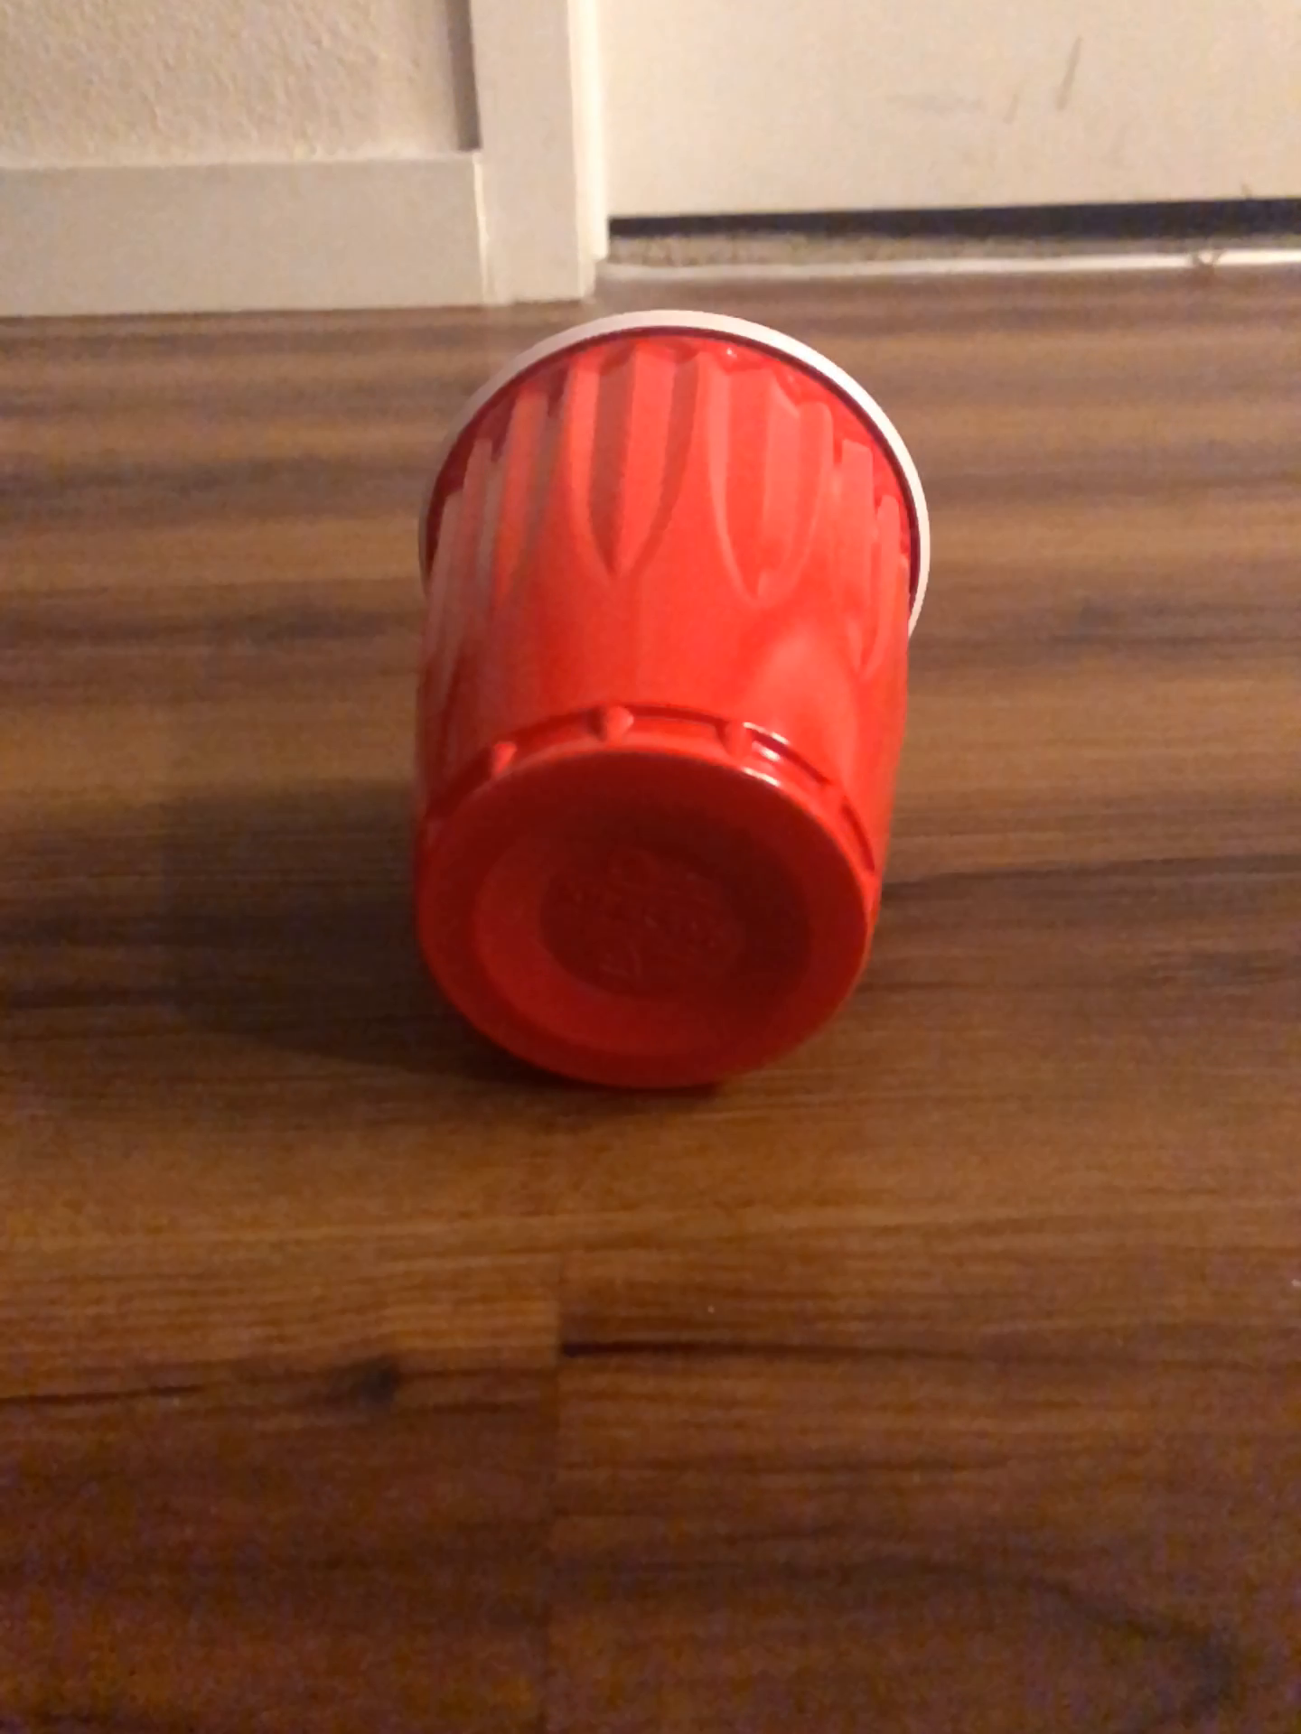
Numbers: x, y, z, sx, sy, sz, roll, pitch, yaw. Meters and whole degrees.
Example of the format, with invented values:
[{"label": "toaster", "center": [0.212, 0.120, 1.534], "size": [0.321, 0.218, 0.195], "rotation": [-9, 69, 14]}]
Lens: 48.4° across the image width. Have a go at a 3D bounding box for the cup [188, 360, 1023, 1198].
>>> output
[{"label": "cup", "center": [-0.001, -0.021, 0.243], "size": [0.099, 0.089, 0.115], "rotation": [1, 38, 5]}]
